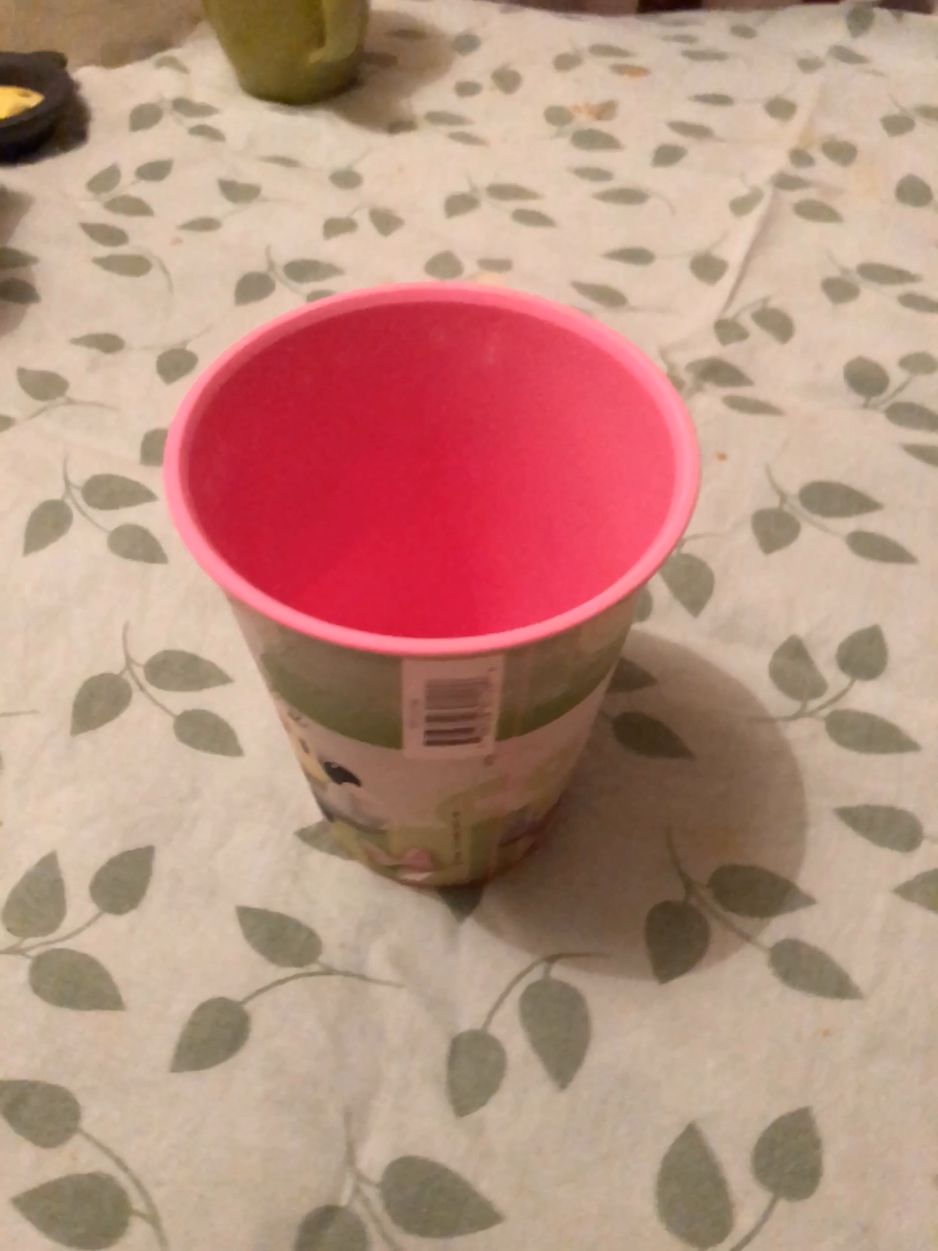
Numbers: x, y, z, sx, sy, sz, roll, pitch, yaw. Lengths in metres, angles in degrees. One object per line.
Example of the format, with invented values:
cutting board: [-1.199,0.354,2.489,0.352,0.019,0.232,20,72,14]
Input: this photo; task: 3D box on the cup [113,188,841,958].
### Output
cup: [-0.004,-0.007,0.221,0.100,0.119,0.101,0,52,0]
